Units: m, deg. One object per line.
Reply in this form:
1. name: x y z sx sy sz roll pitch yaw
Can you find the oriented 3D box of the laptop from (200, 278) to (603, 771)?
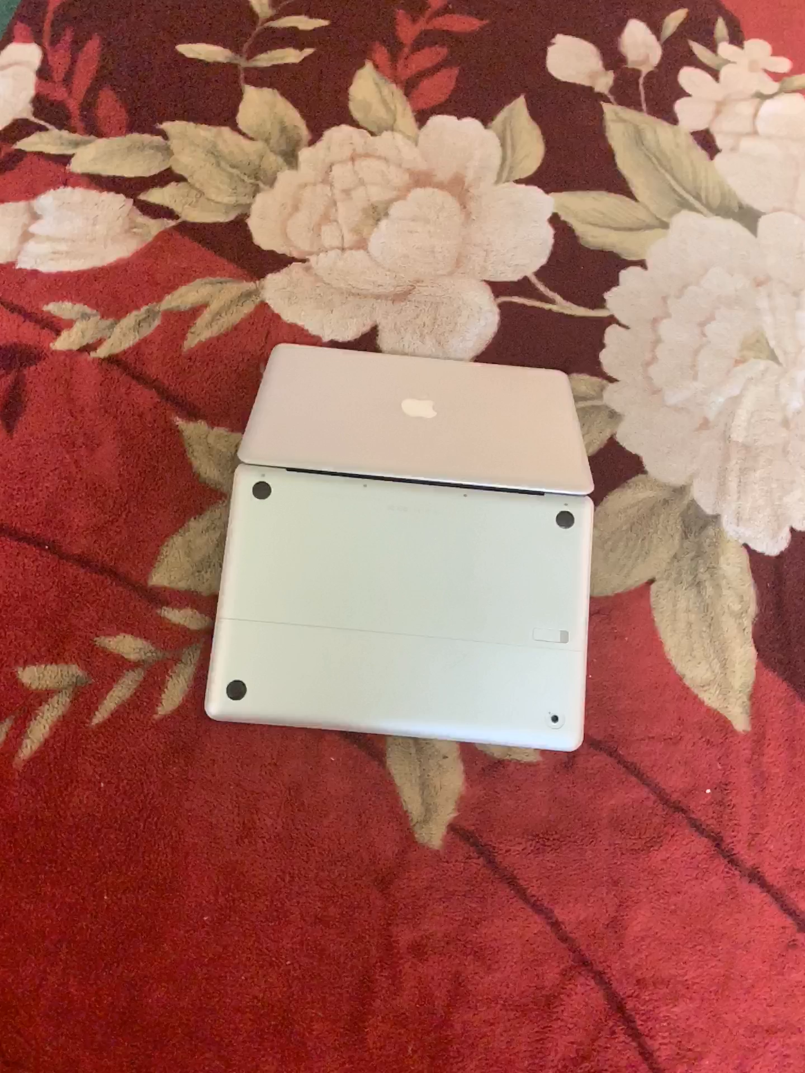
1. laptop: 0.007 -0.009 0.752 0.316 0.078 0.390 6 79 -2
